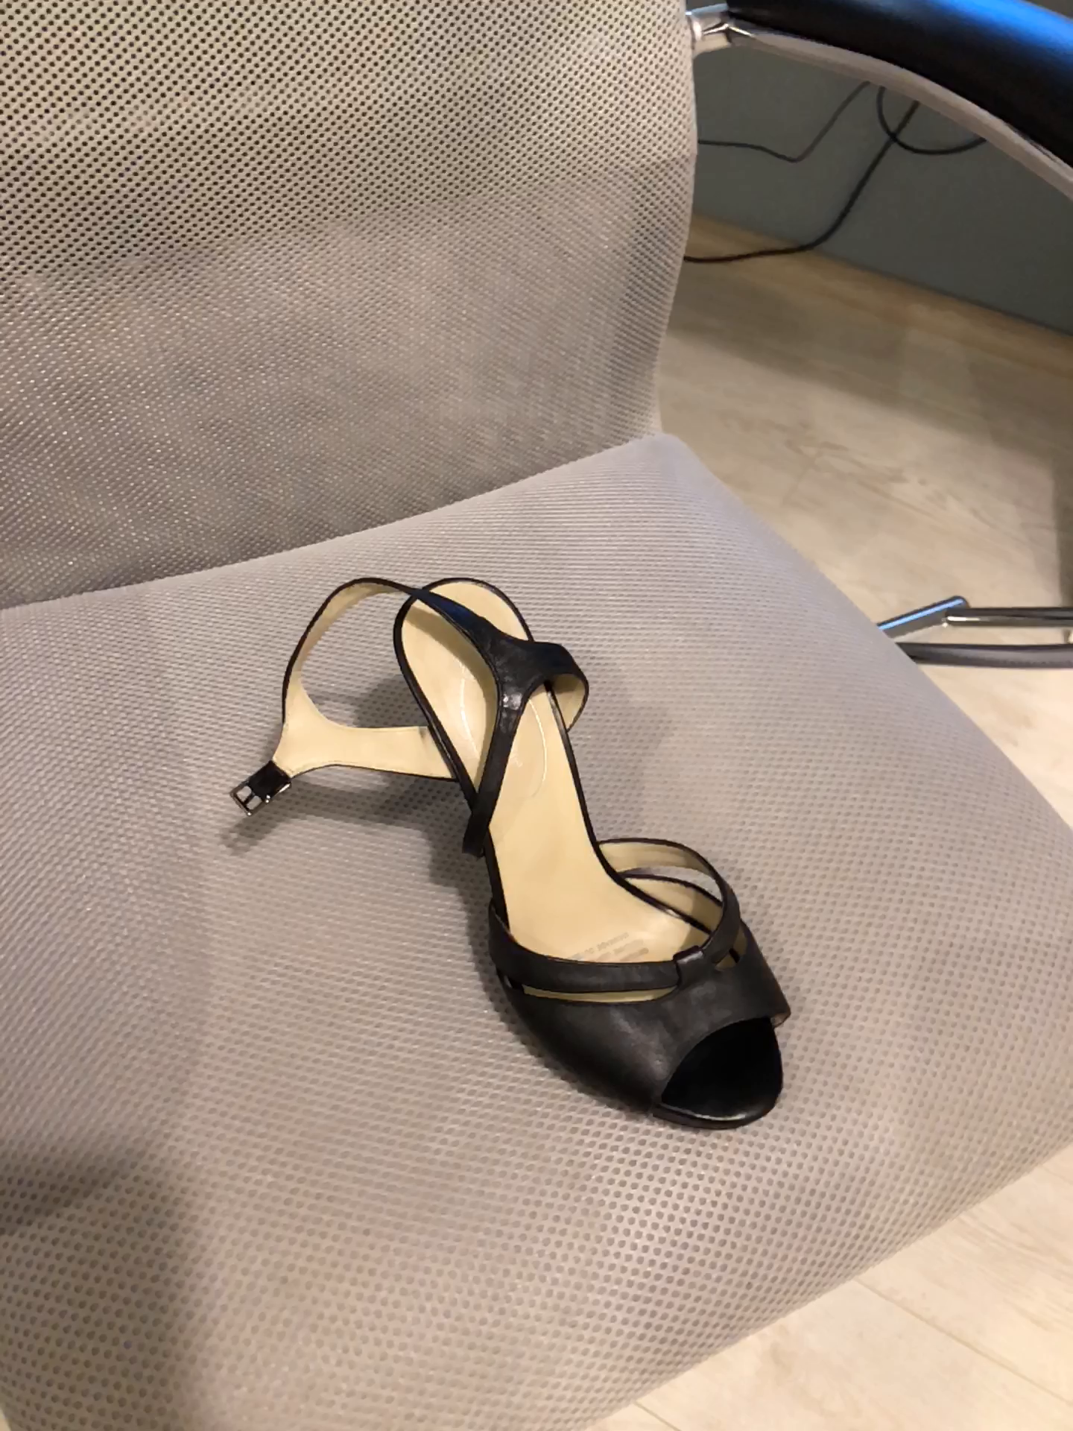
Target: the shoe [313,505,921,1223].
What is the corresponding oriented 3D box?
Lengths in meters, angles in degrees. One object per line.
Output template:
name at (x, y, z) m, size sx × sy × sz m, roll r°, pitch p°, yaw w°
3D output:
shoe at (0.014, 0.046, 0.424) m, size 0.090 × 0.119 × 0.211 m, roll -26°, pitch 57°, yaw -21°
